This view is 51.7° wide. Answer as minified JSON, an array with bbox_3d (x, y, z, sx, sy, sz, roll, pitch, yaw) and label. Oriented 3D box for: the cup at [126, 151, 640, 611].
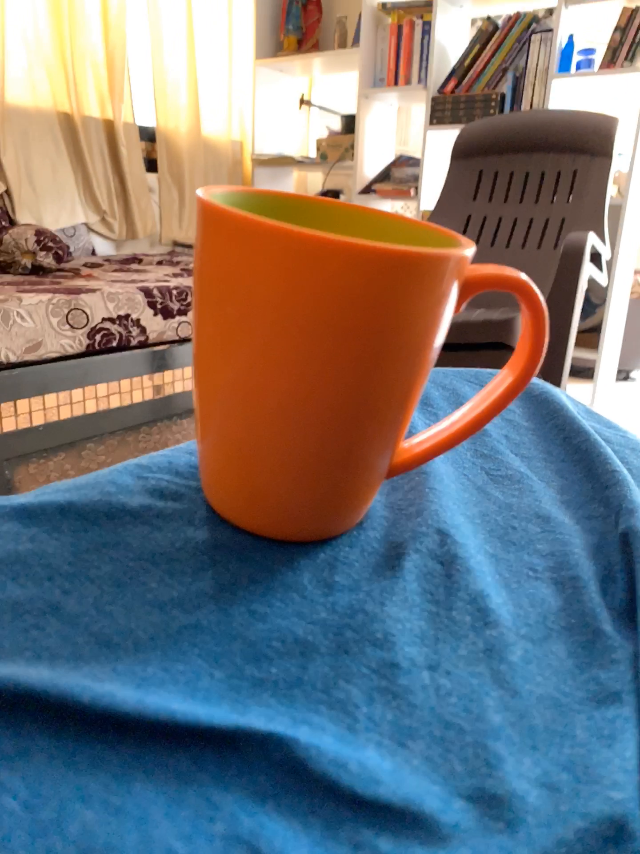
[{"bbox_3d":[0.013,-0.018,0.208,0.120,0.089,0.101,10,28,-12],"label":"cup"}]
